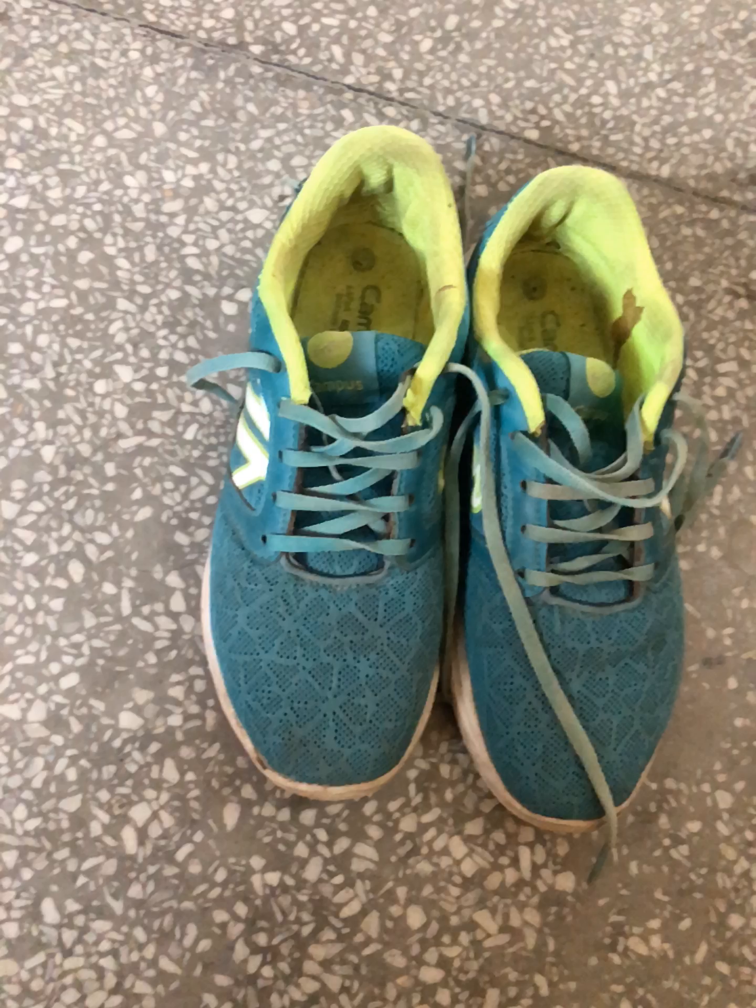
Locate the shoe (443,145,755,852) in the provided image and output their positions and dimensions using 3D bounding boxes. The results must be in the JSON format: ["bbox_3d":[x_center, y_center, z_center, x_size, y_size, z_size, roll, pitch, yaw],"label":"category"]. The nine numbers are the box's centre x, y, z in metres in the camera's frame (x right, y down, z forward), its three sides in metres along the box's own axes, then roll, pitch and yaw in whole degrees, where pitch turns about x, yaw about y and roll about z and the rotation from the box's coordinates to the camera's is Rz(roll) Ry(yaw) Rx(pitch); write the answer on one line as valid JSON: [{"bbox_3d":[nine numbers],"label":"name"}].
[{"bbox_3d":[0.078,-0.001,0.309,0.094,0.088,0.229,3,74,-5],"label":"shoe"}]

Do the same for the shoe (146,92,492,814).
[{"bbox_3d":[-0.016,-0.016,0.307,0.091,0.092,0.230,5,74,-5],"label":"shoe"}]
